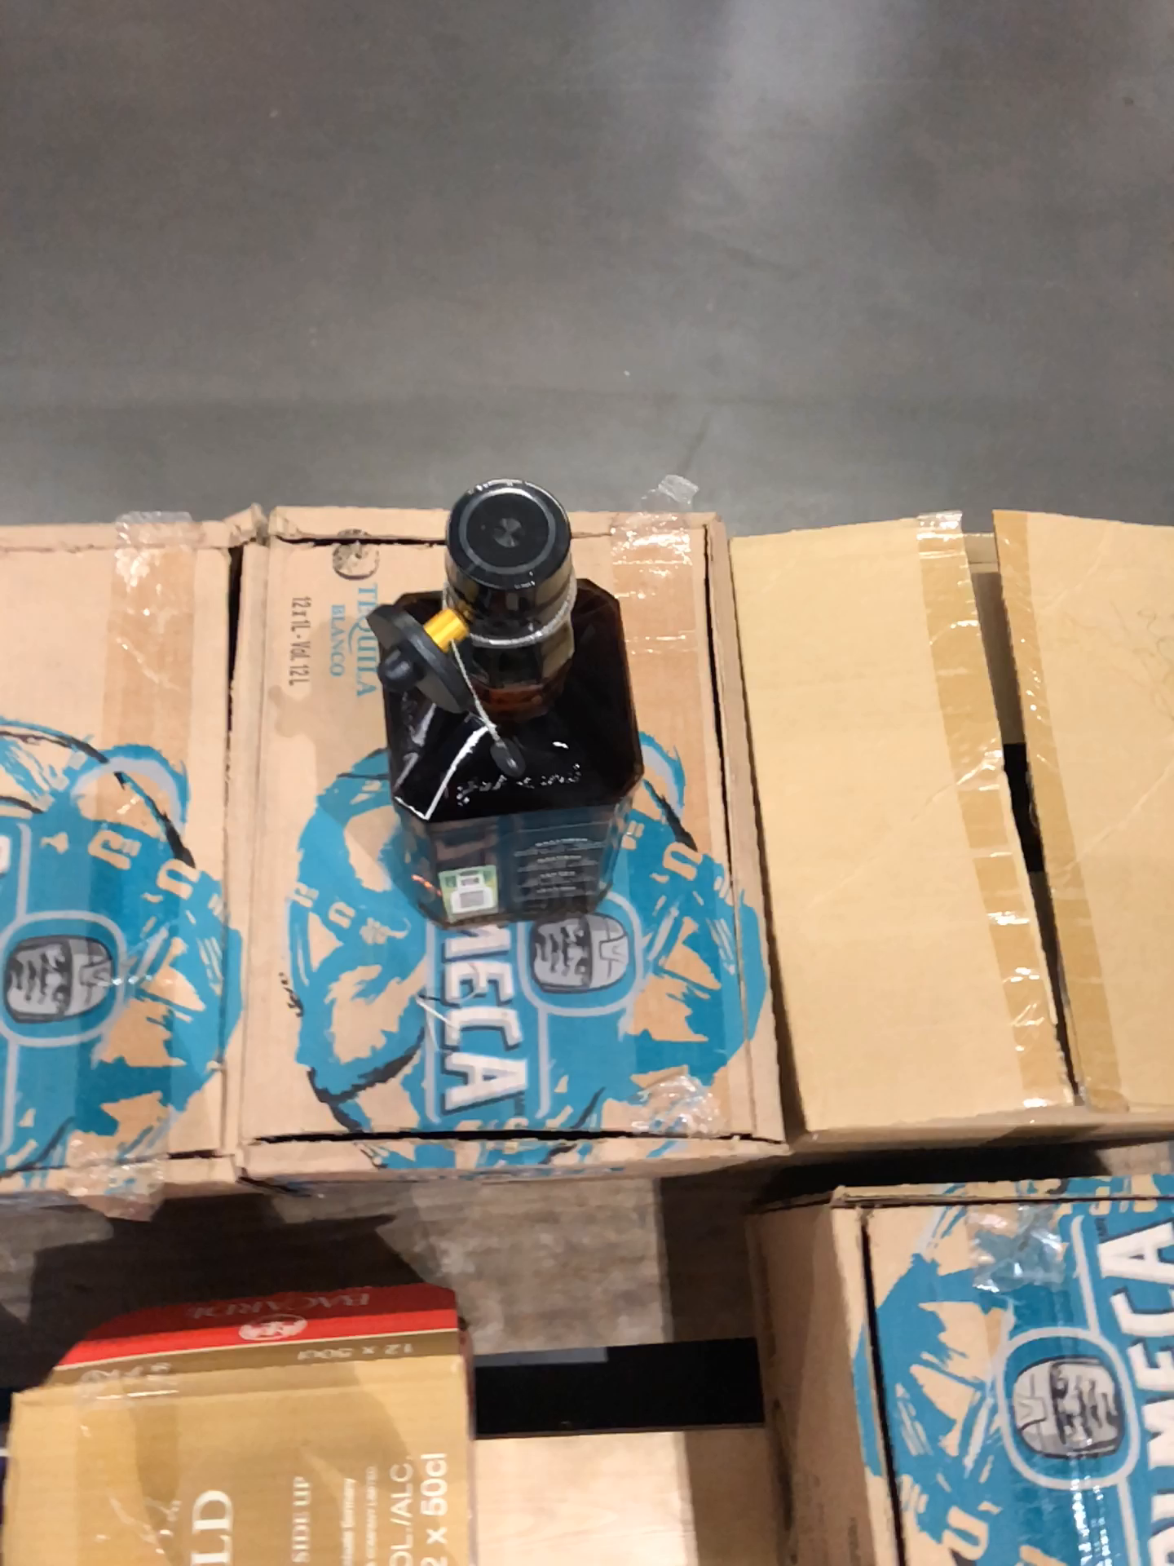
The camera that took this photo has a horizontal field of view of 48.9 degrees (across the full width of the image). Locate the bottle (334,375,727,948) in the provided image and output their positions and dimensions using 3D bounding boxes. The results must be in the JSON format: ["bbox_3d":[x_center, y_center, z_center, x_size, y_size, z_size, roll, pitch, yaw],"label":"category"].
[{"bbox_3d":[-0.030,-0.025,0.547,0.110,0.309,0.110,1,70,-3],"label":"bottle"}]
